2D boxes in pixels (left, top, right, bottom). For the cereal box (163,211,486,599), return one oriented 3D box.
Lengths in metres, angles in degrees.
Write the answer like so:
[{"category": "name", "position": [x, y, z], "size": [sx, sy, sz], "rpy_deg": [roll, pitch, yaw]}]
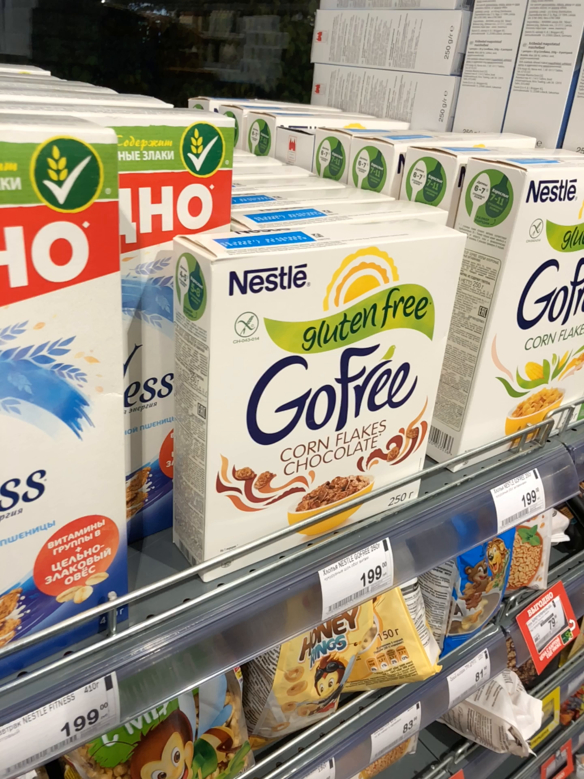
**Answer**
[{"category": "cereal box", "position": [0.019, 0.002, 0.432], "size": [0.200, 0.219, 0.060], "rpy_deg": [-13, 31, -33]}]
